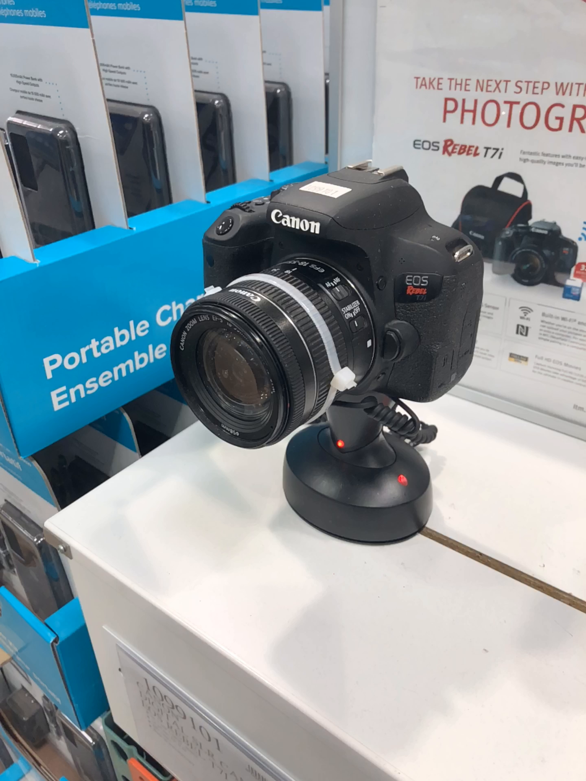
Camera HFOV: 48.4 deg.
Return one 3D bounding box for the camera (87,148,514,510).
[{"bbox_3d":[0.010,-0.046,0.322,0.130,0.100,0.150,21,38,31],"label":"camera"}]
